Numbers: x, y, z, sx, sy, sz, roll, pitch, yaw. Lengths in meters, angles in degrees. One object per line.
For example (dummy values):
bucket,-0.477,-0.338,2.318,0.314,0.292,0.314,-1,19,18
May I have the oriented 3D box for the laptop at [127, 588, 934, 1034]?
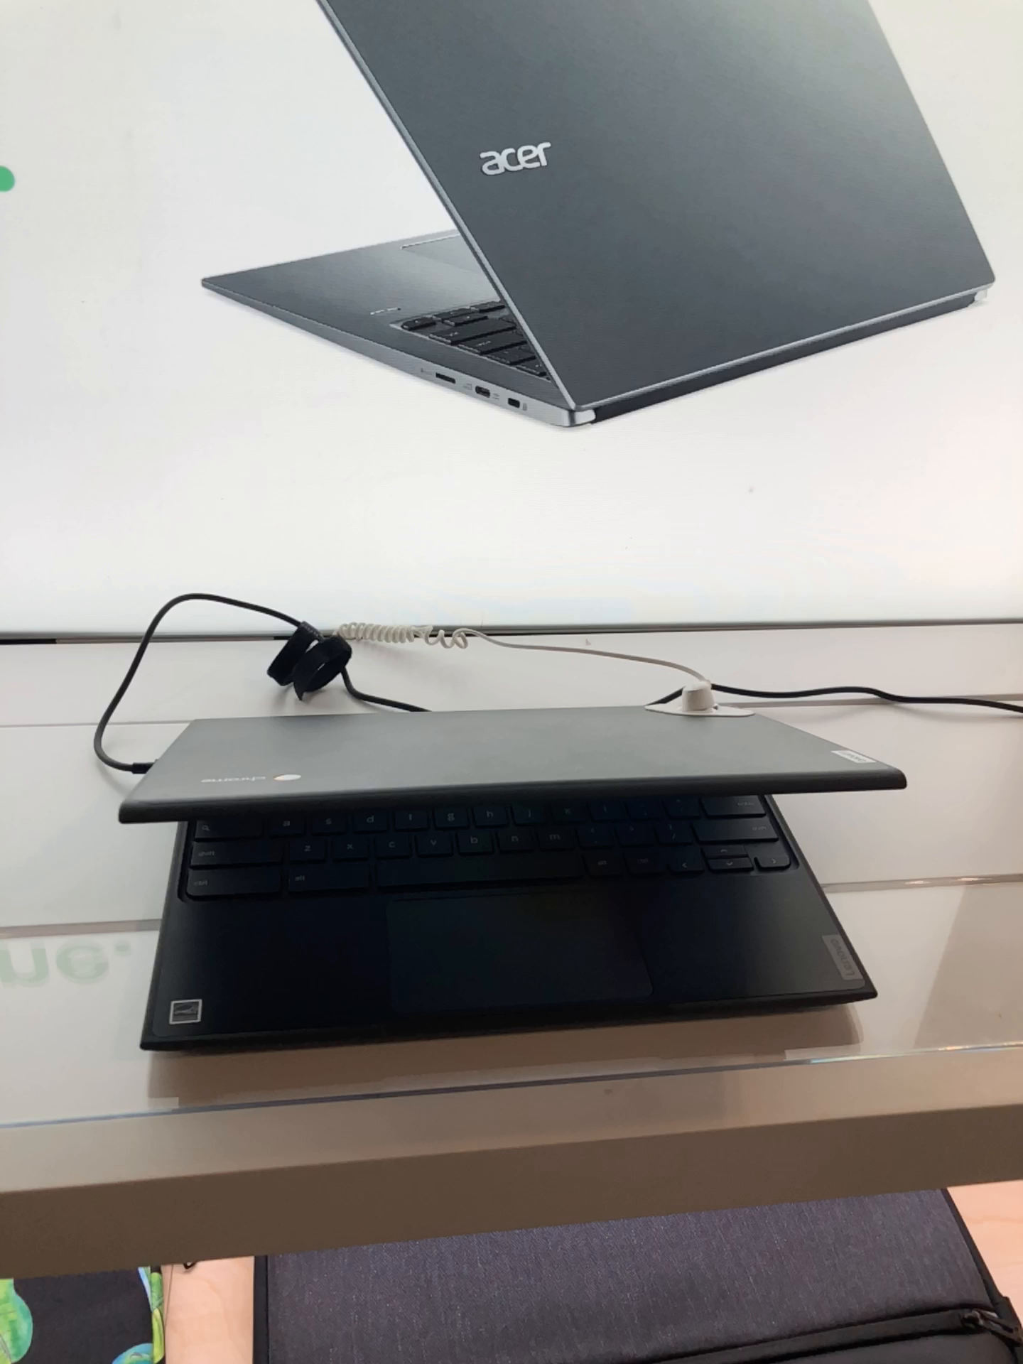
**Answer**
laptop,-0.004,0.041,0.476,0.276,0.072,0.187,-2,35,-6
